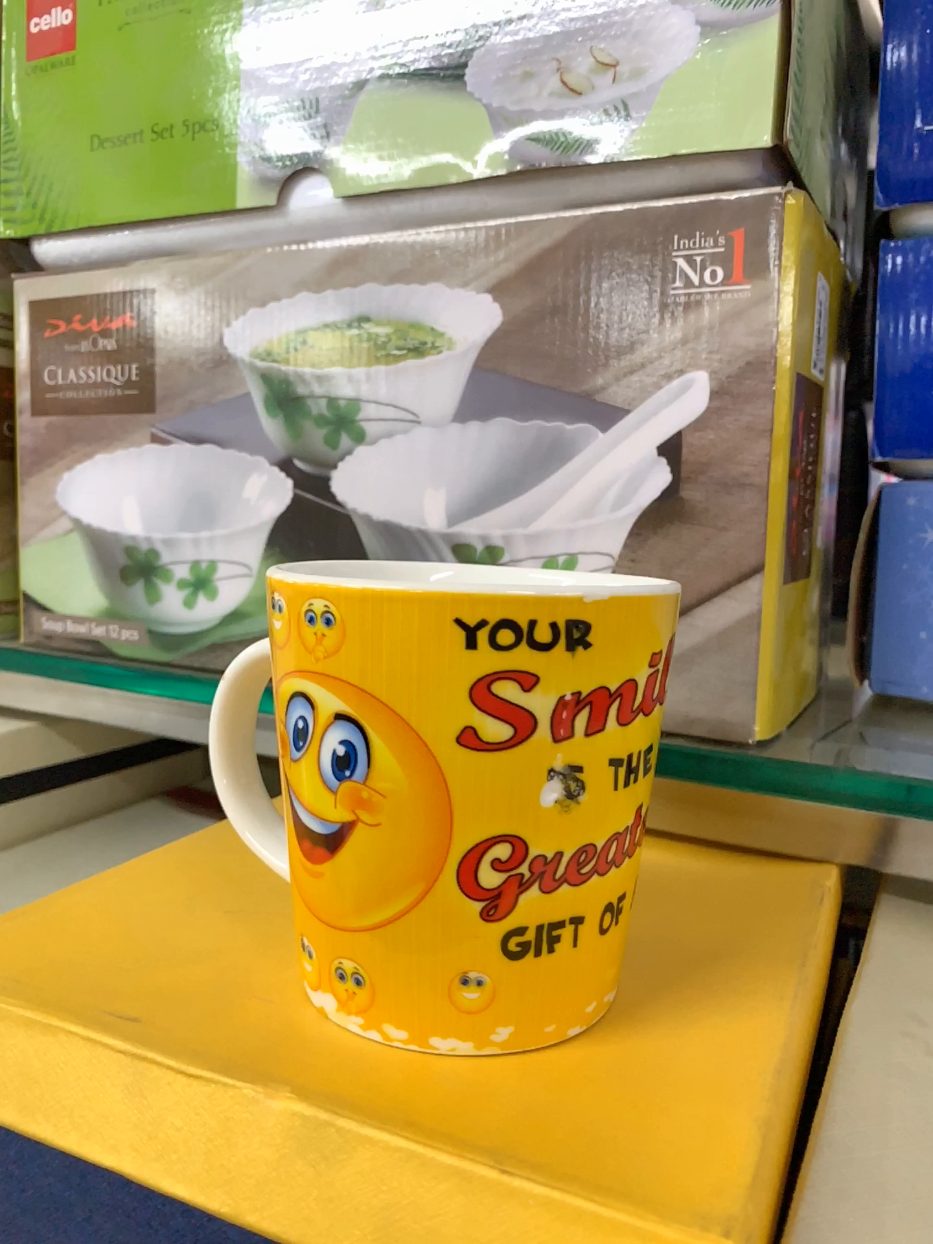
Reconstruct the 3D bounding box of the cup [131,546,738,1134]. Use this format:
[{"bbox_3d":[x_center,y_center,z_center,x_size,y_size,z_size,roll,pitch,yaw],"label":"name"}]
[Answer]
[{"bbox_3d":[-0.012,0.032,0.224,0.120,0.090,0.070,8,9,40],"label":"cup"}]
